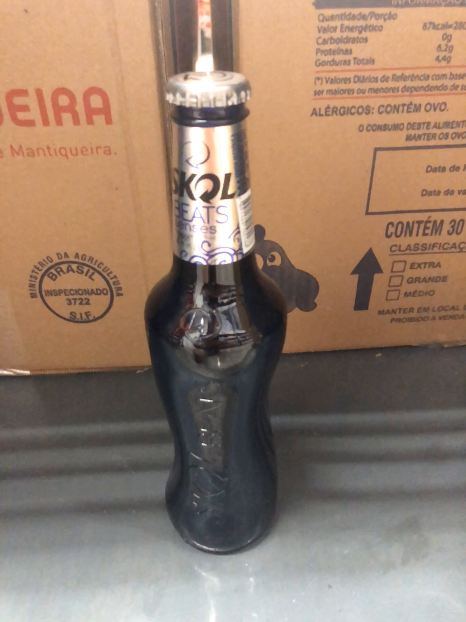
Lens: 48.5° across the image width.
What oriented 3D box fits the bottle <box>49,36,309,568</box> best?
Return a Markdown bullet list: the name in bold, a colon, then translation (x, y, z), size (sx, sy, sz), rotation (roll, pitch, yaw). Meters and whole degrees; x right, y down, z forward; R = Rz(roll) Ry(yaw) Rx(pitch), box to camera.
- **bottle**: translation (-0.009, 0.016, 0.234), size (0.070, 0.238, 0.071), rotation (-2, 34, 1)
